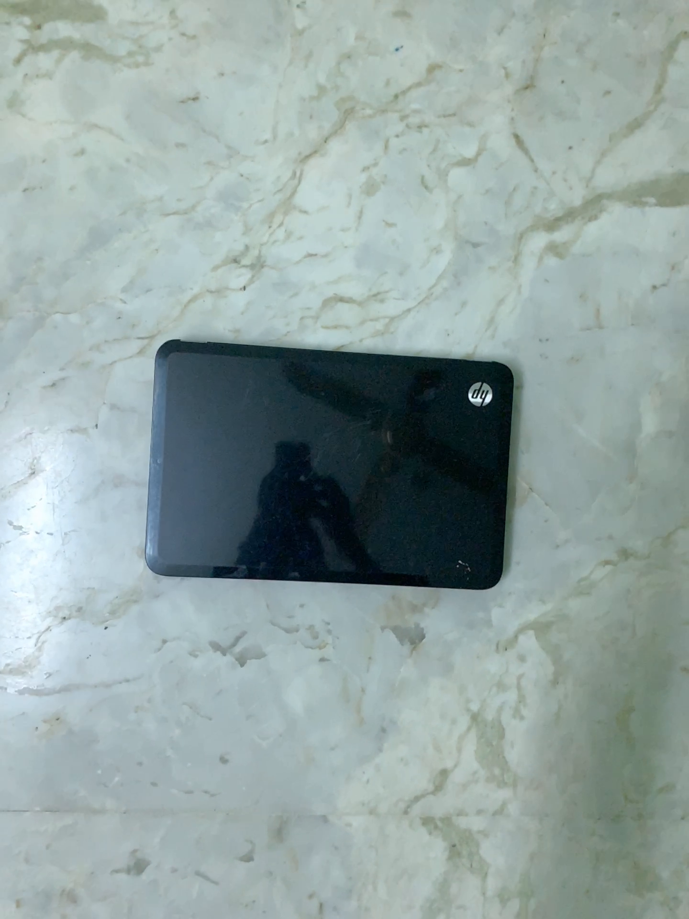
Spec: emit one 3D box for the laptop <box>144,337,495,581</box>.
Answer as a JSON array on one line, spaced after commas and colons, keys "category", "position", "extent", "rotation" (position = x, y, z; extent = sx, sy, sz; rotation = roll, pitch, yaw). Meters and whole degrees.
[{"category": "laptop", "position": [-0.020, -0.001, 0.696], "extent": [0.333, 0.022, 0.221], "rotation": [3, 83, -2]}]
